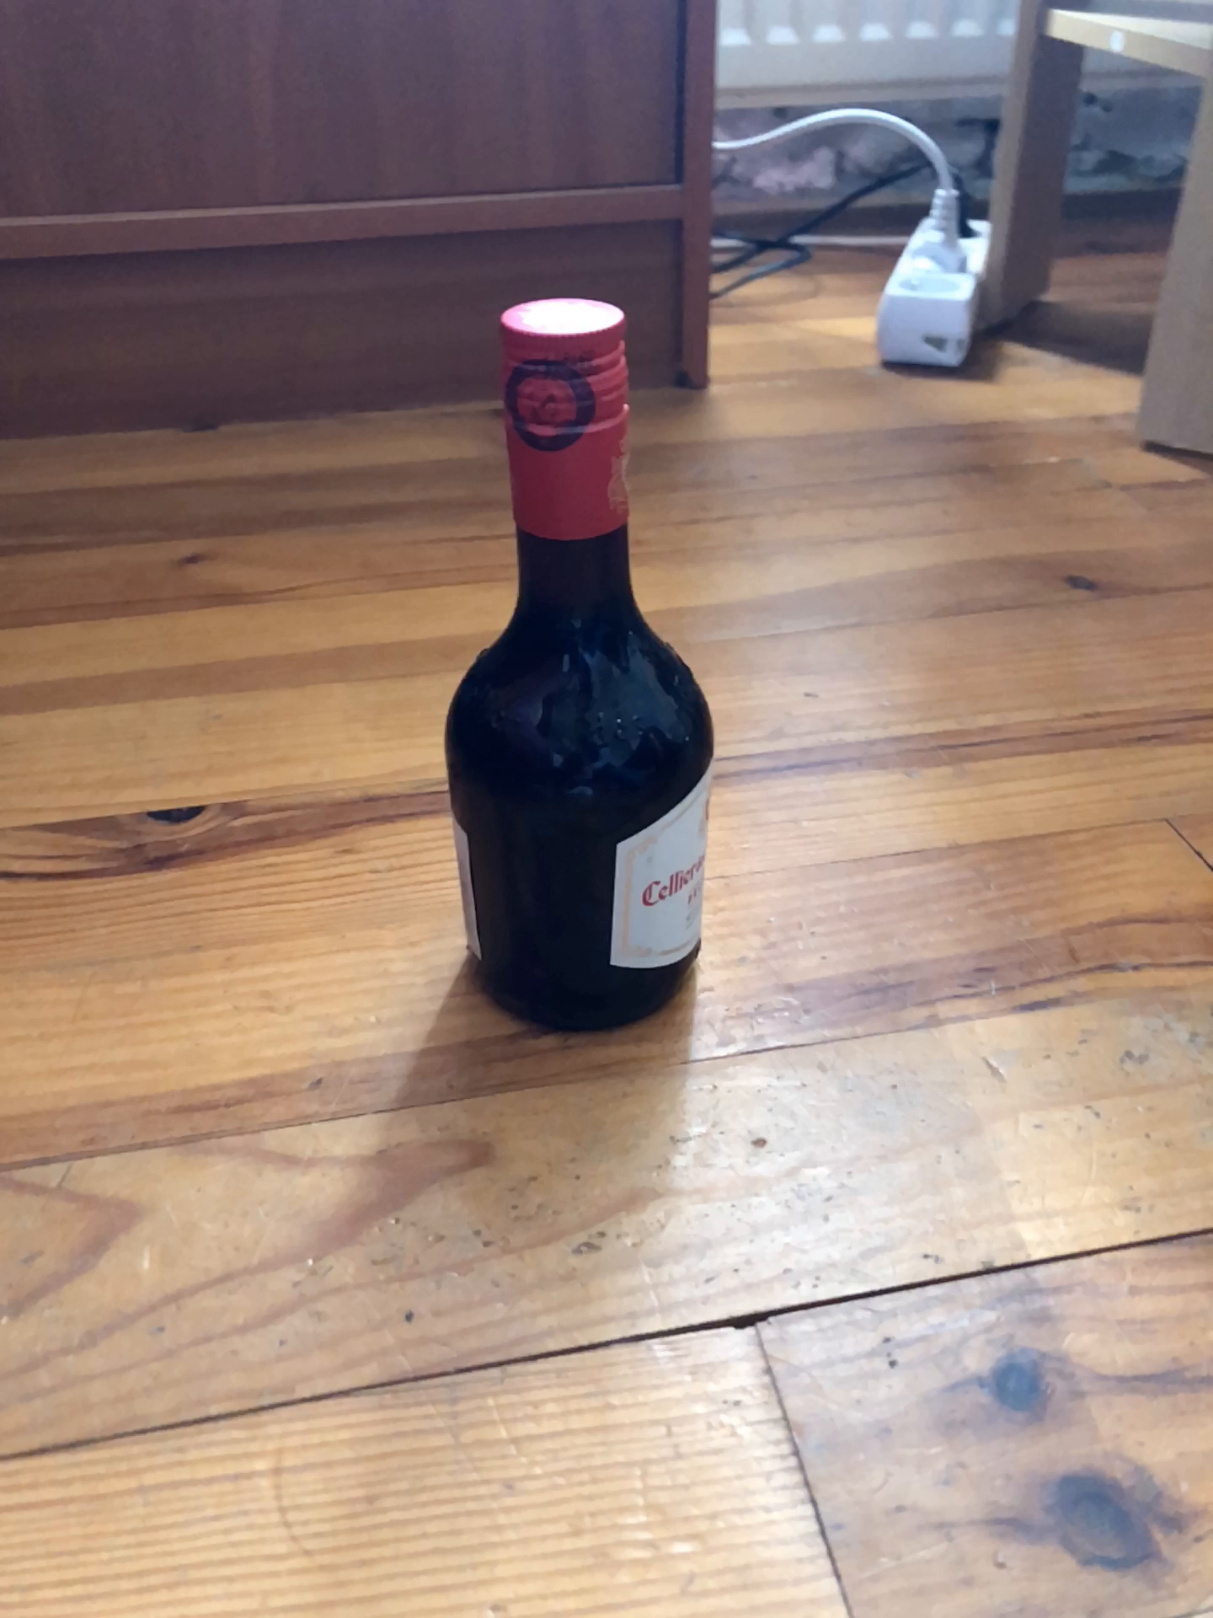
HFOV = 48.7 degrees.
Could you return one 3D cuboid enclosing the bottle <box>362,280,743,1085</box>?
[{"bbox_3d":[-0.006,-0.026,0.313,0.060,0.169,0.070,6,35,11],"label":"bottle"}]
